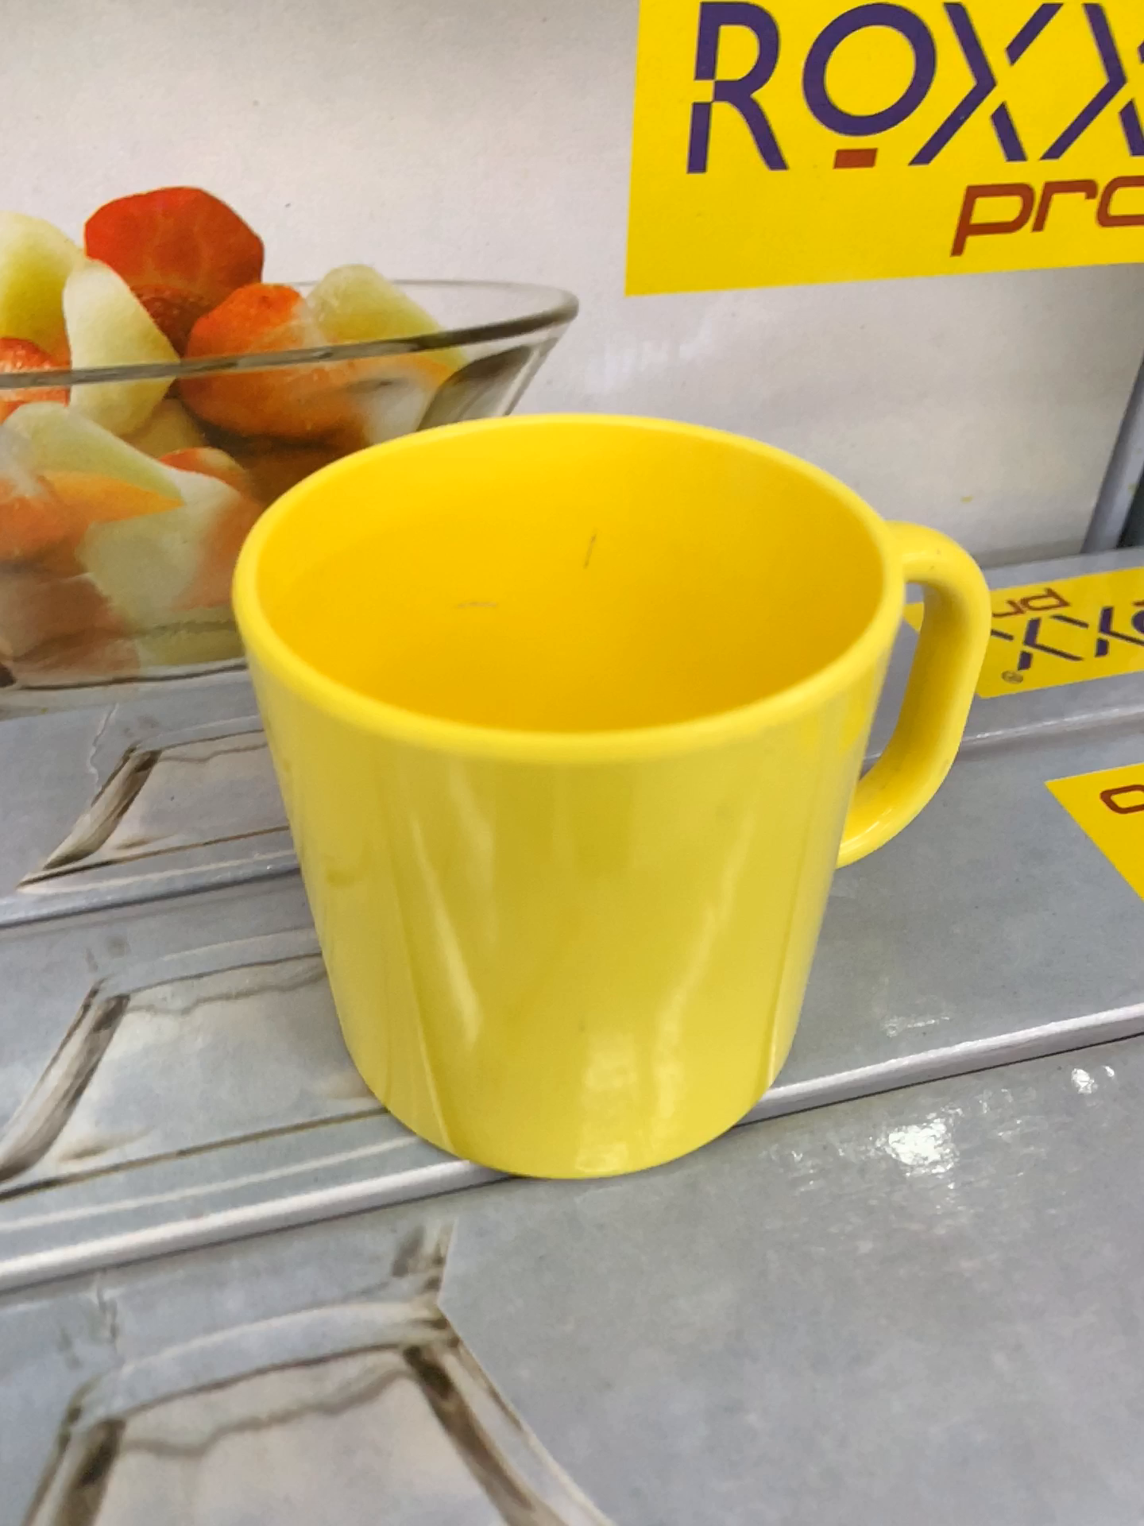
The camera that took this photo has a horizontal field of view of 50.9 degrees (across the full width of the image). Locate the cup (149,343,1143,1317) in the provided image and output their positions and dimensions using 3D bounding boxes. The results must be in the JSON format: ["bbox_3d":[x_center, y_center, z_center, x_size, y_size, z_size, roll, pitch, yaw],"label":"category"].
[{"bbox_3d":[0.009,0.001,0.158,0.100,0.079,0.070,-14,41,-21],"label":"cup"}]
